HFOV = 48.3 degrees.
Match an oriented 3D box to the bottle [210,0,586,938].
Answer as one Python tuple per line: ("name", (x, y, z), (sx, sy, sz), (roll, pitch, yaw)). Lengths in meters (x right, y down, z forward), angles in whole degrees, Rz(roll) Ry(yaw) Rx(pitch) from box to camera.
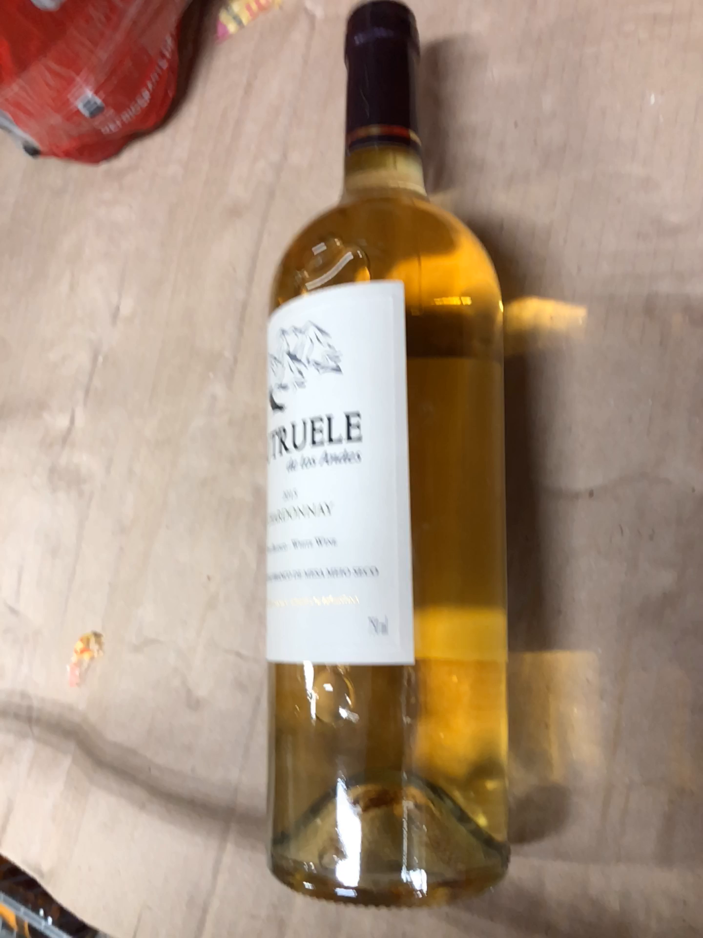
("bottle", (0.011, -0.028, 0.256), (0.080, 0.070, 0.300), (-16, 69, 48))
